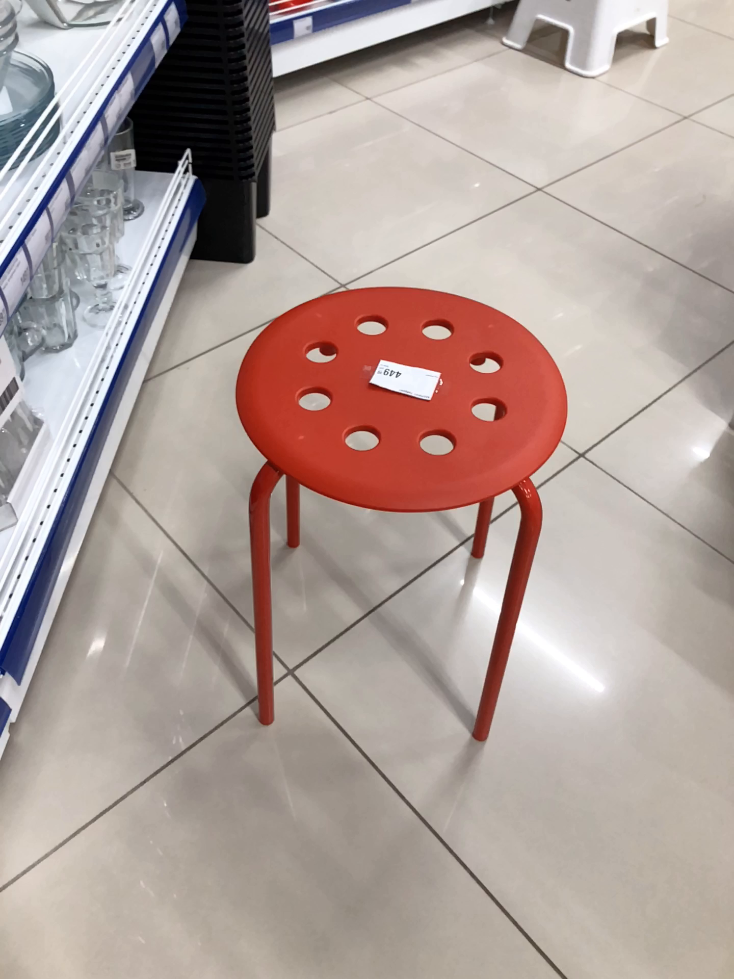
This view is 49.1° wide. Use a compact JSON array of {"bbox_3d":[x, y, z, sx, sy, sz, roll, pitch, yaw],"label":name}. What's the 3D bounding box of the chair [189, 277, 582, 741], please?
[{"bbox_3d":[0.020,0.034,0.907,0.320,0.405,0.315,4,49,2],"label":"chair"}]
